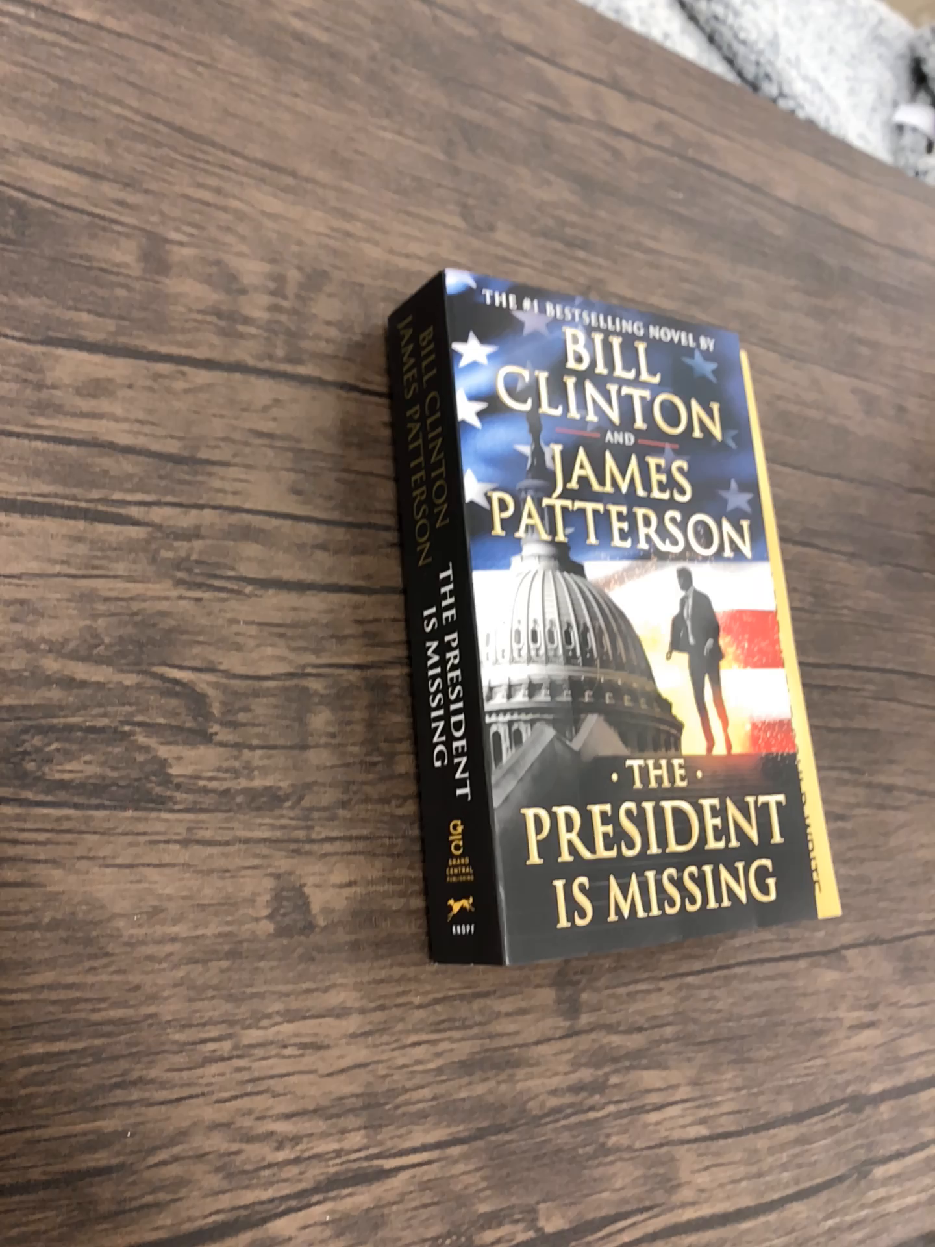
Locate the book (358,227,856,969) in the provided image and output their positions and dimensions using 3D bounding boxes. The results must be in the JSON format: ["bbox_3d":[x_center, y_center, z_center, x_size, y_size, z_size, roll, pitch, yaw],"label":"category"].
[{"bbox_3d":[0.046,-0.006,0.354,0.140,0.054,0.216,3,74,-34],"label":"book"}]
